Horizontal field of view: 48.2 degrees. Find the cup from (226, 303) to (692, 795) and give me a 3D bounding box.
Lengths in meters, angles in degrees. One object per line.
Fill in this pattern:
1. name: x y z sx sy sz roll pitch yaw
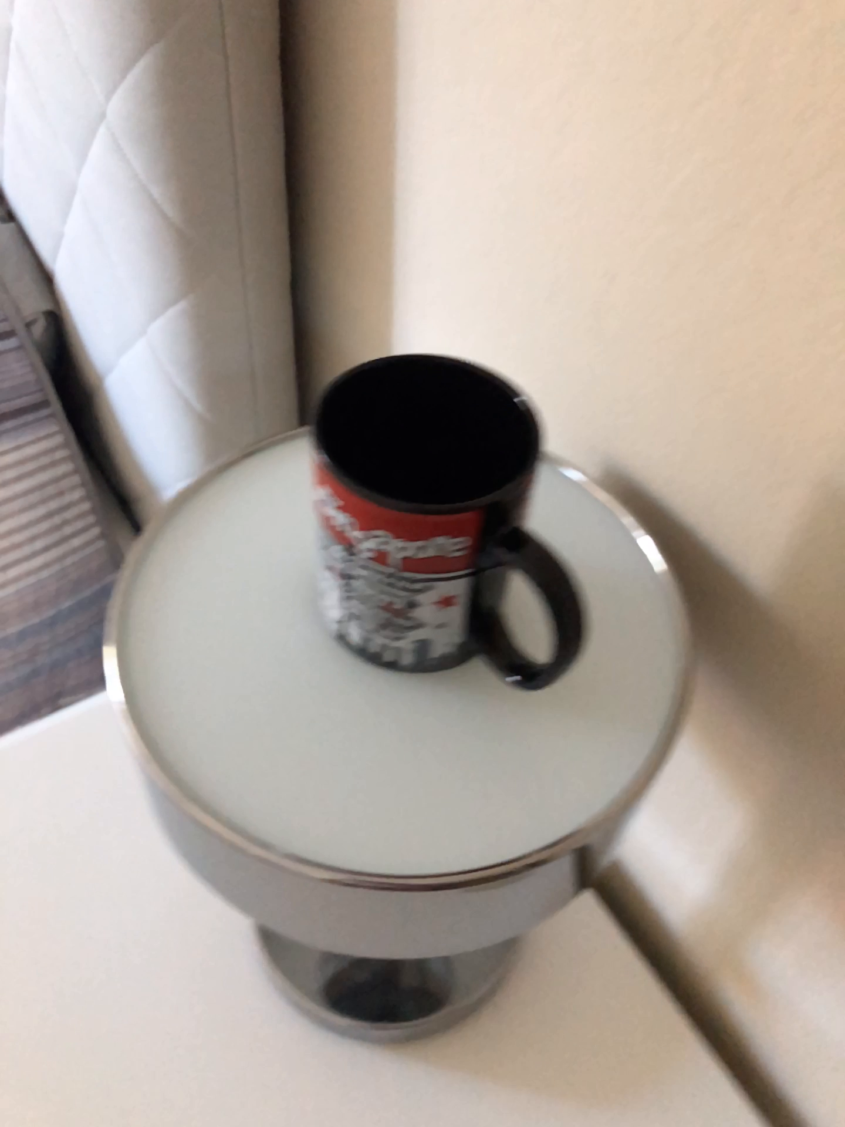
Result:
1. cup: 0.008 -0.009 0.353 0.090 0.100 0.130 -36 60 -30
